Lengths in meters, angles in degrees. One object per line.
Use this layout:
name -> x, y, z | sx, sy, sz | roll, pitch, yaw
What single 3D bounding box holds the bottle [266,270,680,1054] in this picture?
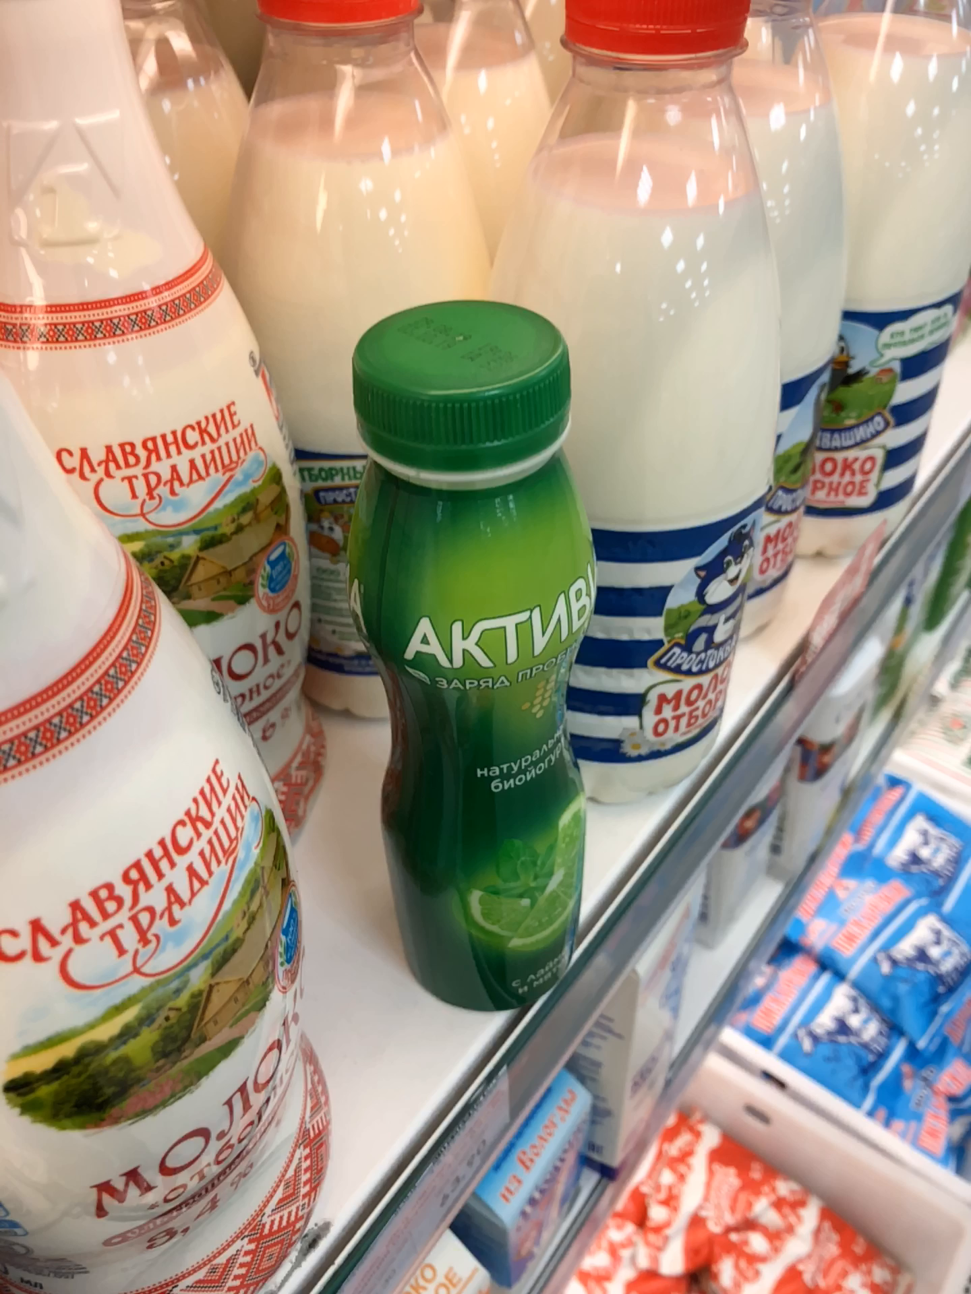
bottle -> -0.002, 0.015, 0.253 | 0.053, 0.179, 0.052 | 0, 41, 0
